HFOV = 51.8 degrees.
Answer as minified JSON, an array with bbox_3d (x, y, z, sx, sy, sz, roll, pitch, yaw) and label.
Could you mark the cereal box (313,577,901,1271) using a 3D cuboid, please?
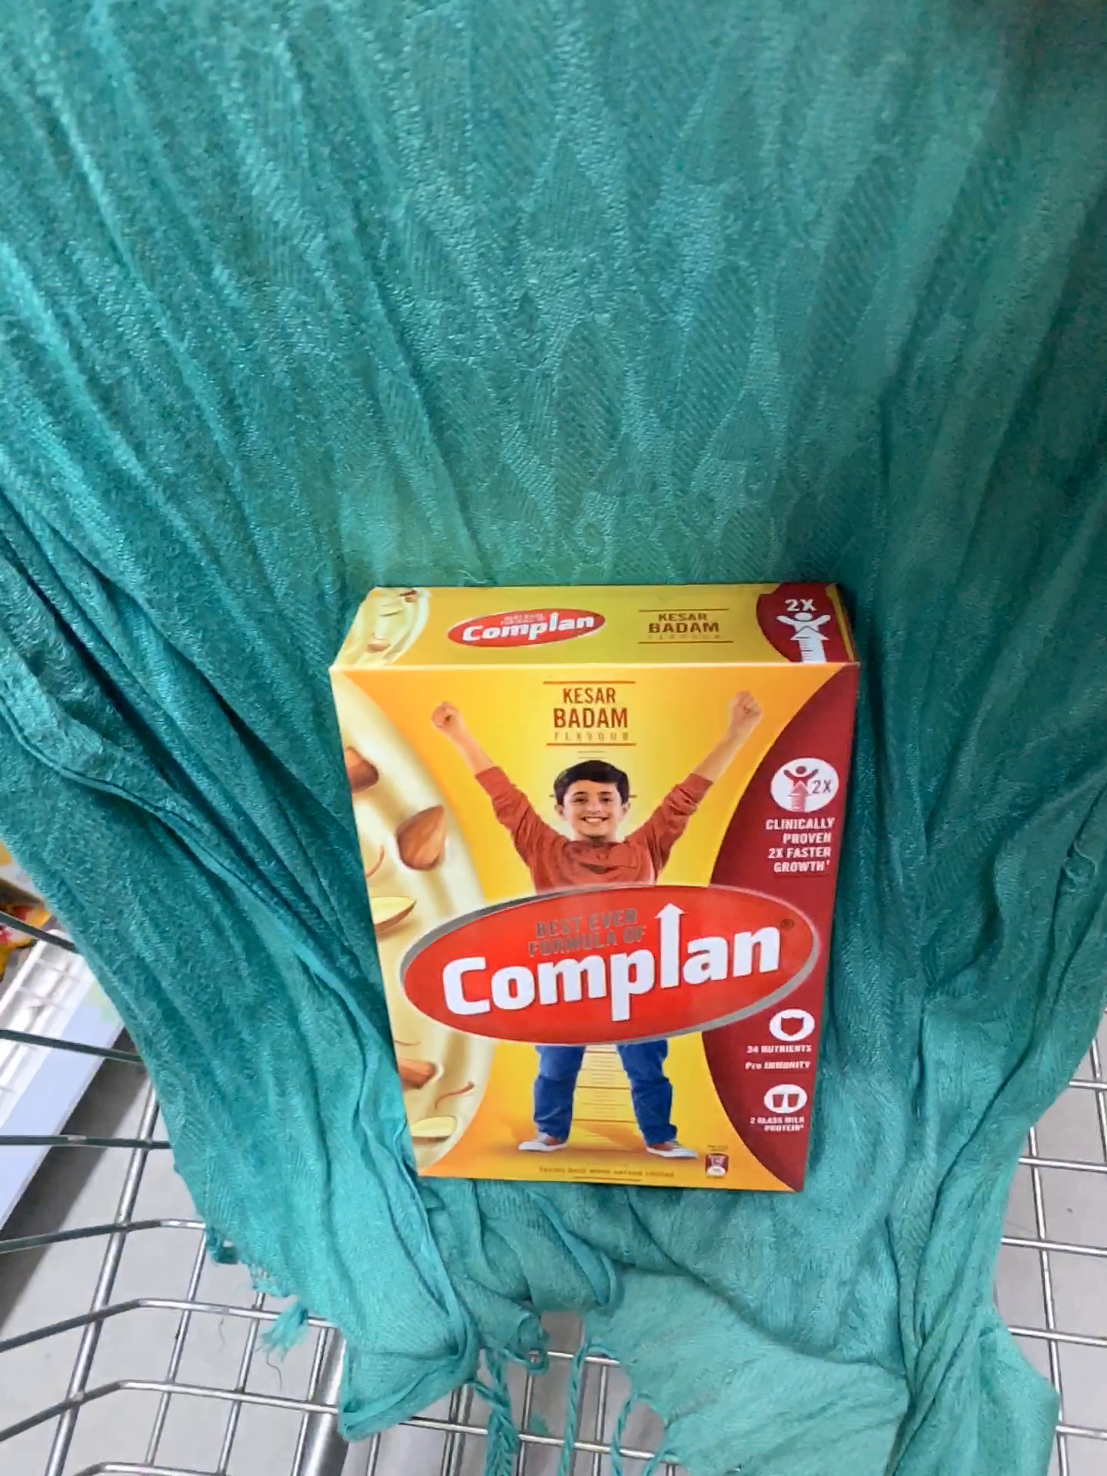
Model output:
[{"bbox_3d":[0.020,0.059,0.340,0.140,0.200,0.060,0,26,8],"label":"cereal box"}]
